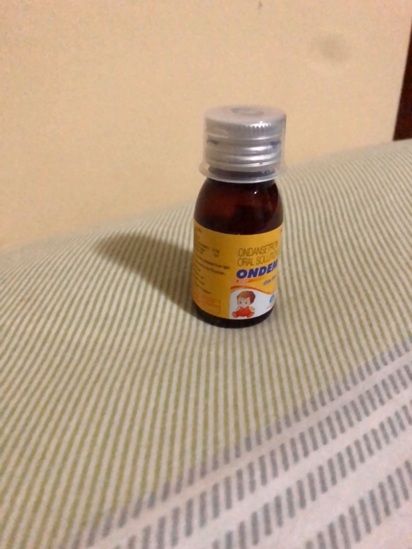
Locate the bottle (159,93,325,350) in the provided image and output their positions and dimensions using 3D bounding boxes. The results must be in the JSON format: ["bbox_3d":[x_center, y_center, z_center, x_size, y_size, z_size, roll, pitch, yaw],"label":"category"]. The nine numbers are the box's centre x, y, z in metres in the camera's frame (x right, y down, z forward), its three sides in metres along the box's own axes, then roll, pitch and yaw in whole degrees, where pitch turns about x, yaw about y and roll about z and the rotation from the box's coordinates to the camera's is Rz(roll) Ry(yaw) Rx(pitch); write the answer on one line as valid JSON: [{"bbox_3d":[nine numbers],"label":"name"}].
[{"bbox_3d":[0.010,-0.020,0.171,0.040,0.080,0.040,1,30,0],"label":"bottle"}]
